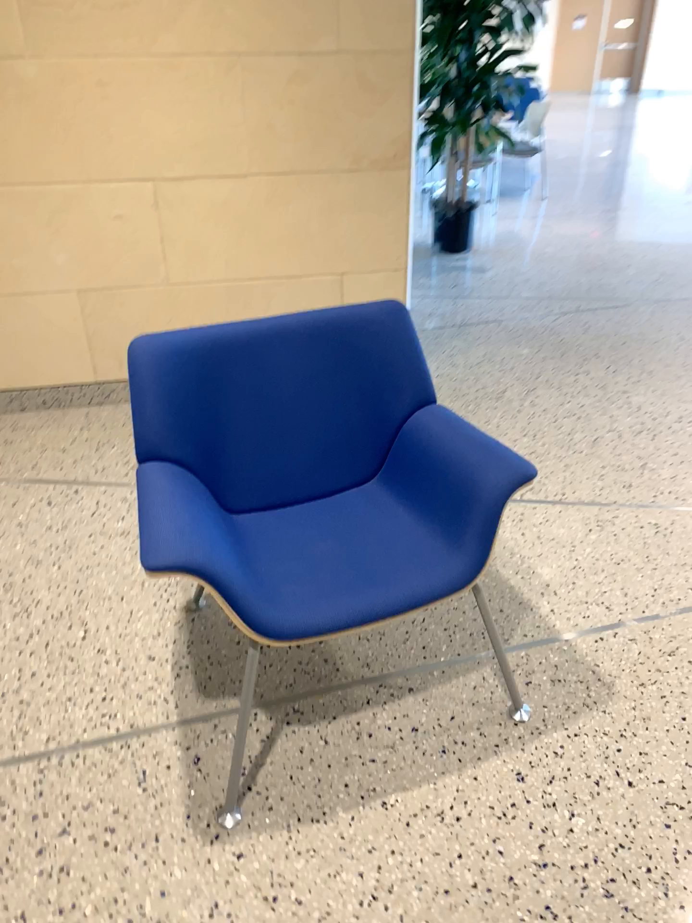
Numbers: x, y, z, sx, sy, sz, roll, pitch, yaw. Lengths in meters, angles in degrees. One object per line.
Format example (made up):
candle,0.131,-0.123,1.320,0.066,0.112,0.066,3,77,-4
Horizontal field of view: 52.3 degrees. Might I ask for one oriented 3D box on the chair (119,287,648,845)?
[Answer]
chair,0.004,0.135,1.535,0.779,0.728,0.763,-11,33,-17
